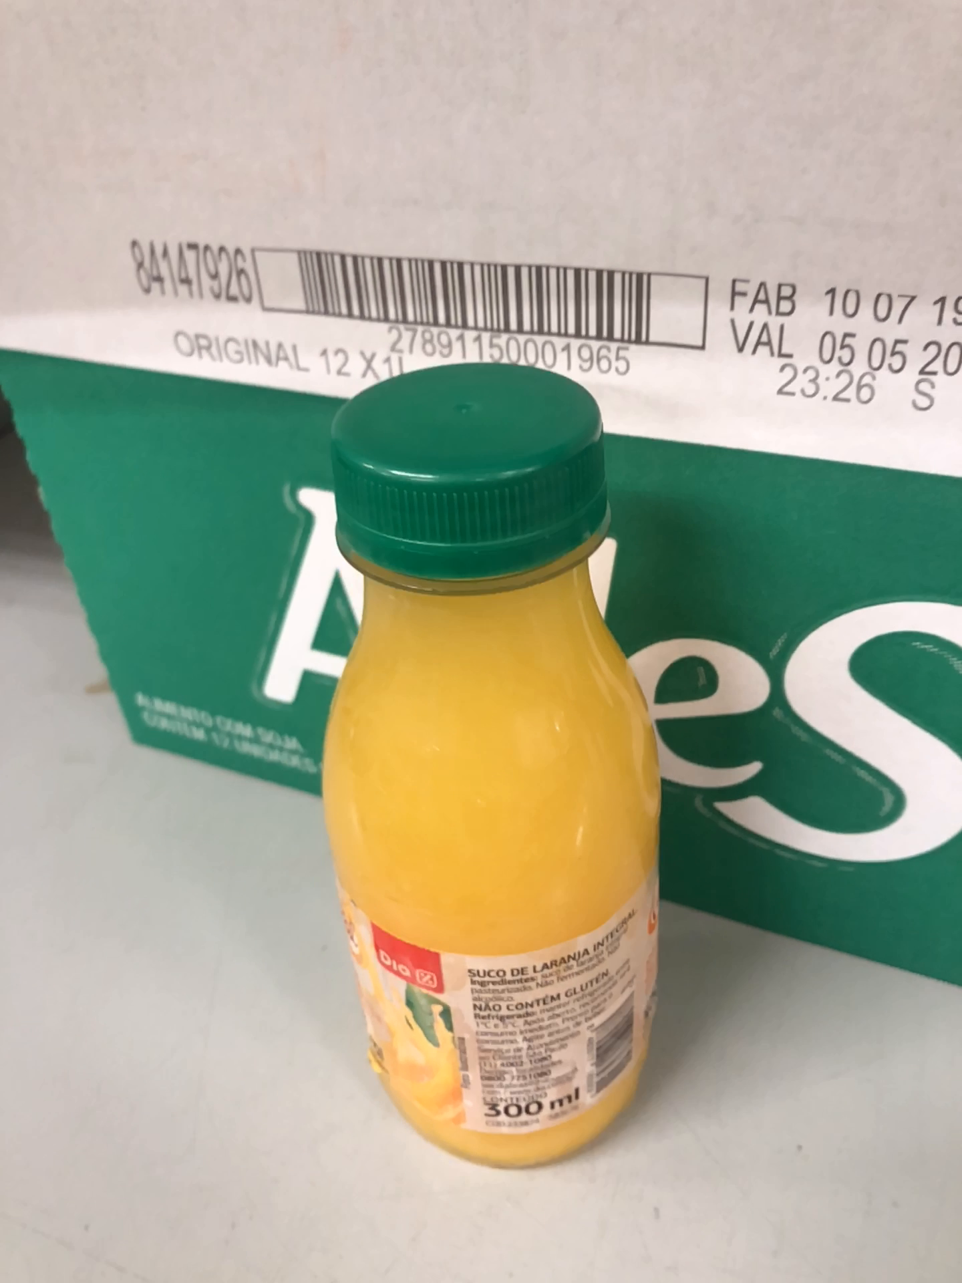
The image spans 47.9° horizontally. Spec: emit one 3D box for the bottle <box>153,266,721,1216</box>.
[{"bbox_3d":[-0.003,0.024,0.207,0.060,0.159,0.070,-21,38,-19],"label":"bottle"}]
